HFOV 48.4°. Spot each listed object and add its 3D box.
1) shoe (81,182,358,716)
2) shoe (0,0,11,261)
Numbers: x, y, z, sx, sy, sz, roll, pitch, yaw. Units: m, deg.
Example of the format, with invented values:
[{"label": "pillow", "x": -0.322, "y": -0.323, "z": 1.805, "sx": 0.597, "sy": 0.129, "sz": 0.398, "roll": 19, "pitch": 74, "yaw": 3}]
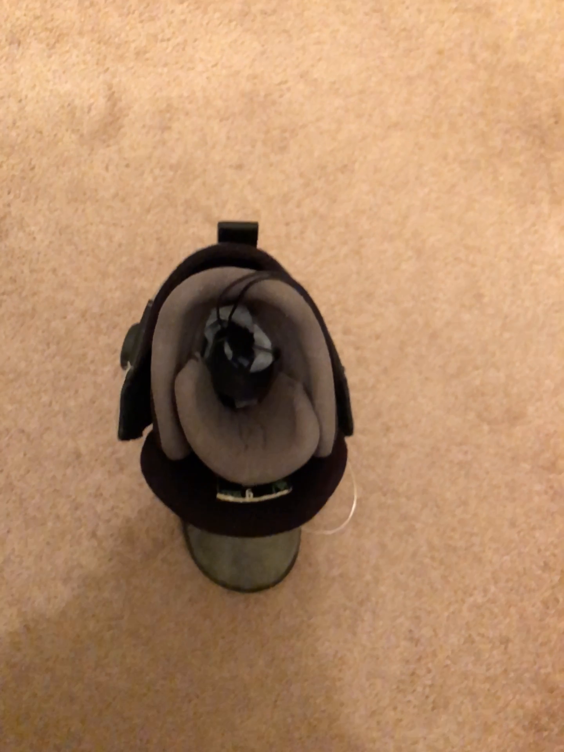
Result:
[{"label": "shoe", "x": -0.038, "y": 0.047, "z": 0.468, "sx": 0.137, "sy": 0.283, "sz": 0.273, "roll": 1, "pitch": 85, "yaw": -4}, {"label": "shoe", "x": -0.442, "y": -0.236, "z": 0.595, "sx": 0.303, "sy": 0.117, "sz": 0.107, "roll": 23, "pitch": 80, "yaw": -1}]
